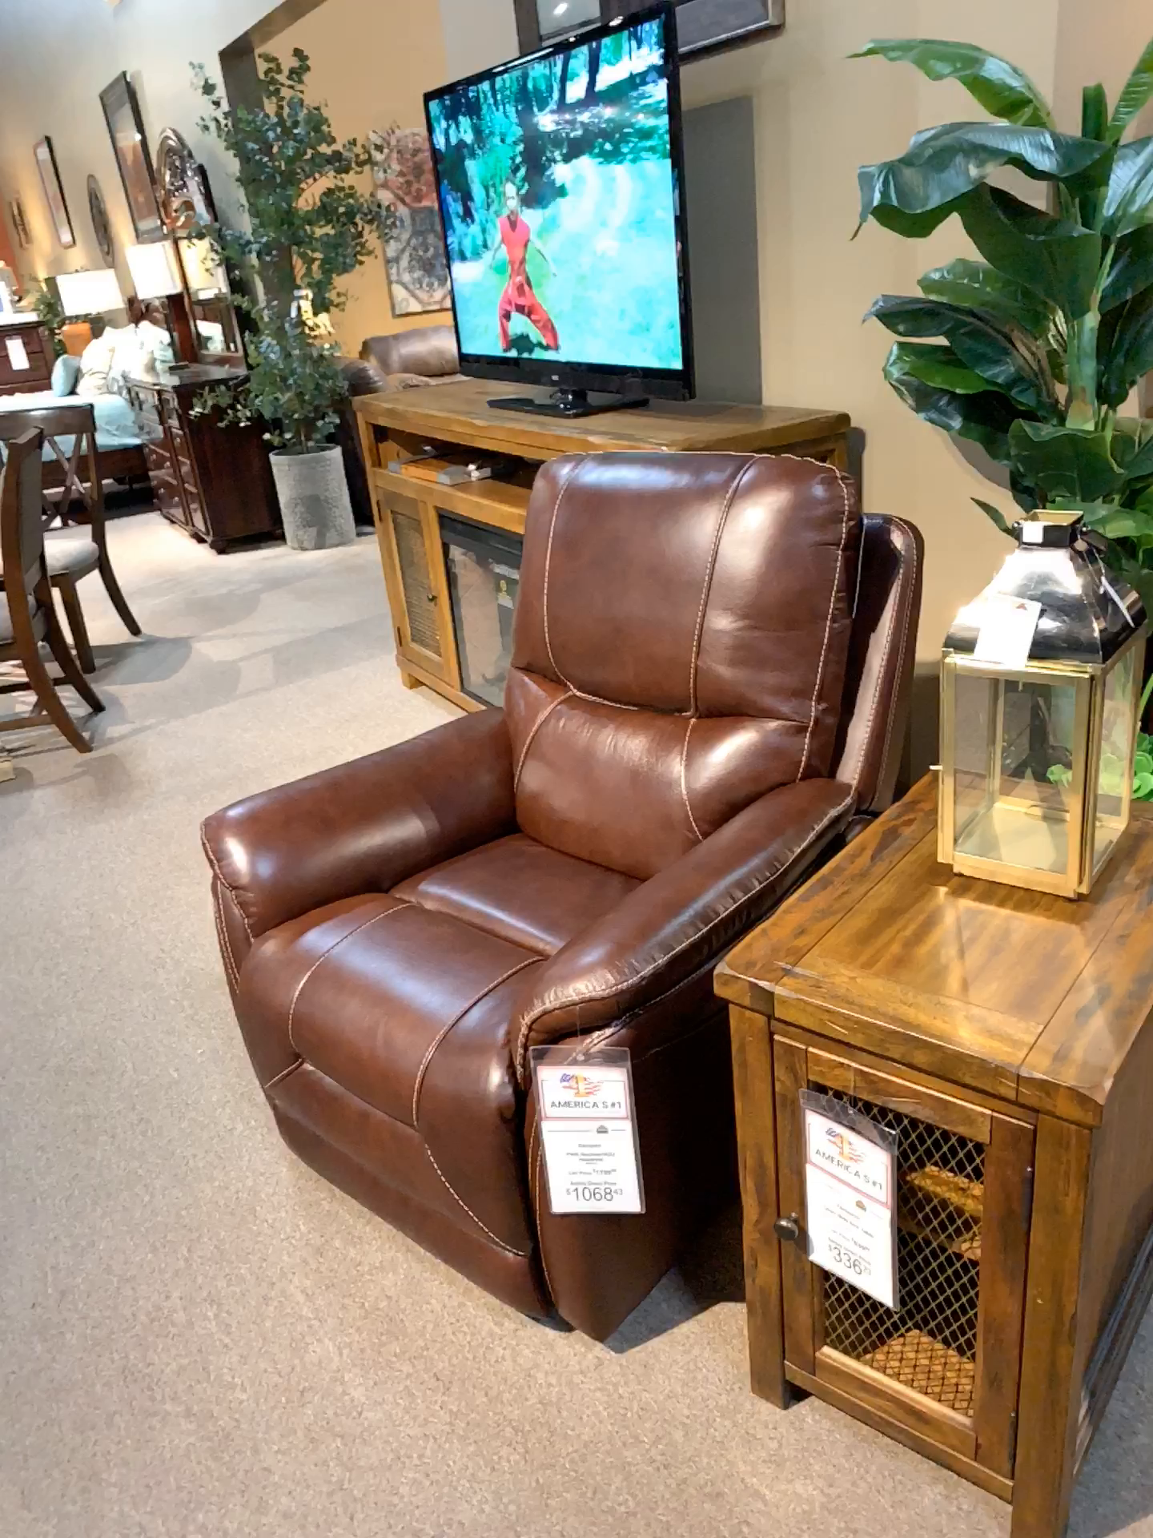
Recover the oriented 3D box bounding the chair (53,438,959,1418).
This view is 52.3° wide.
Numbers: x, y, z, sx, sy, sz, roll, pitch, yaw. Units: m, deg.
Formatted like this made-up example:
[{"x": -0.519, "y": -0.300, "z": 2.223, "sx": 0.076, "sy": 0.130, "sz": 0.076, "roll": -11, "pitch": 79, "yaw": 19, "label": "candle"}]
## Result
[{"x": -0.034, "y": 0.086, "z": 1.795, "sx": 0.851, "sy": 0.974, "sz": 0.914, "roll": 15, "pitch": 31, "yaw": 39, "label": "chair"}]
